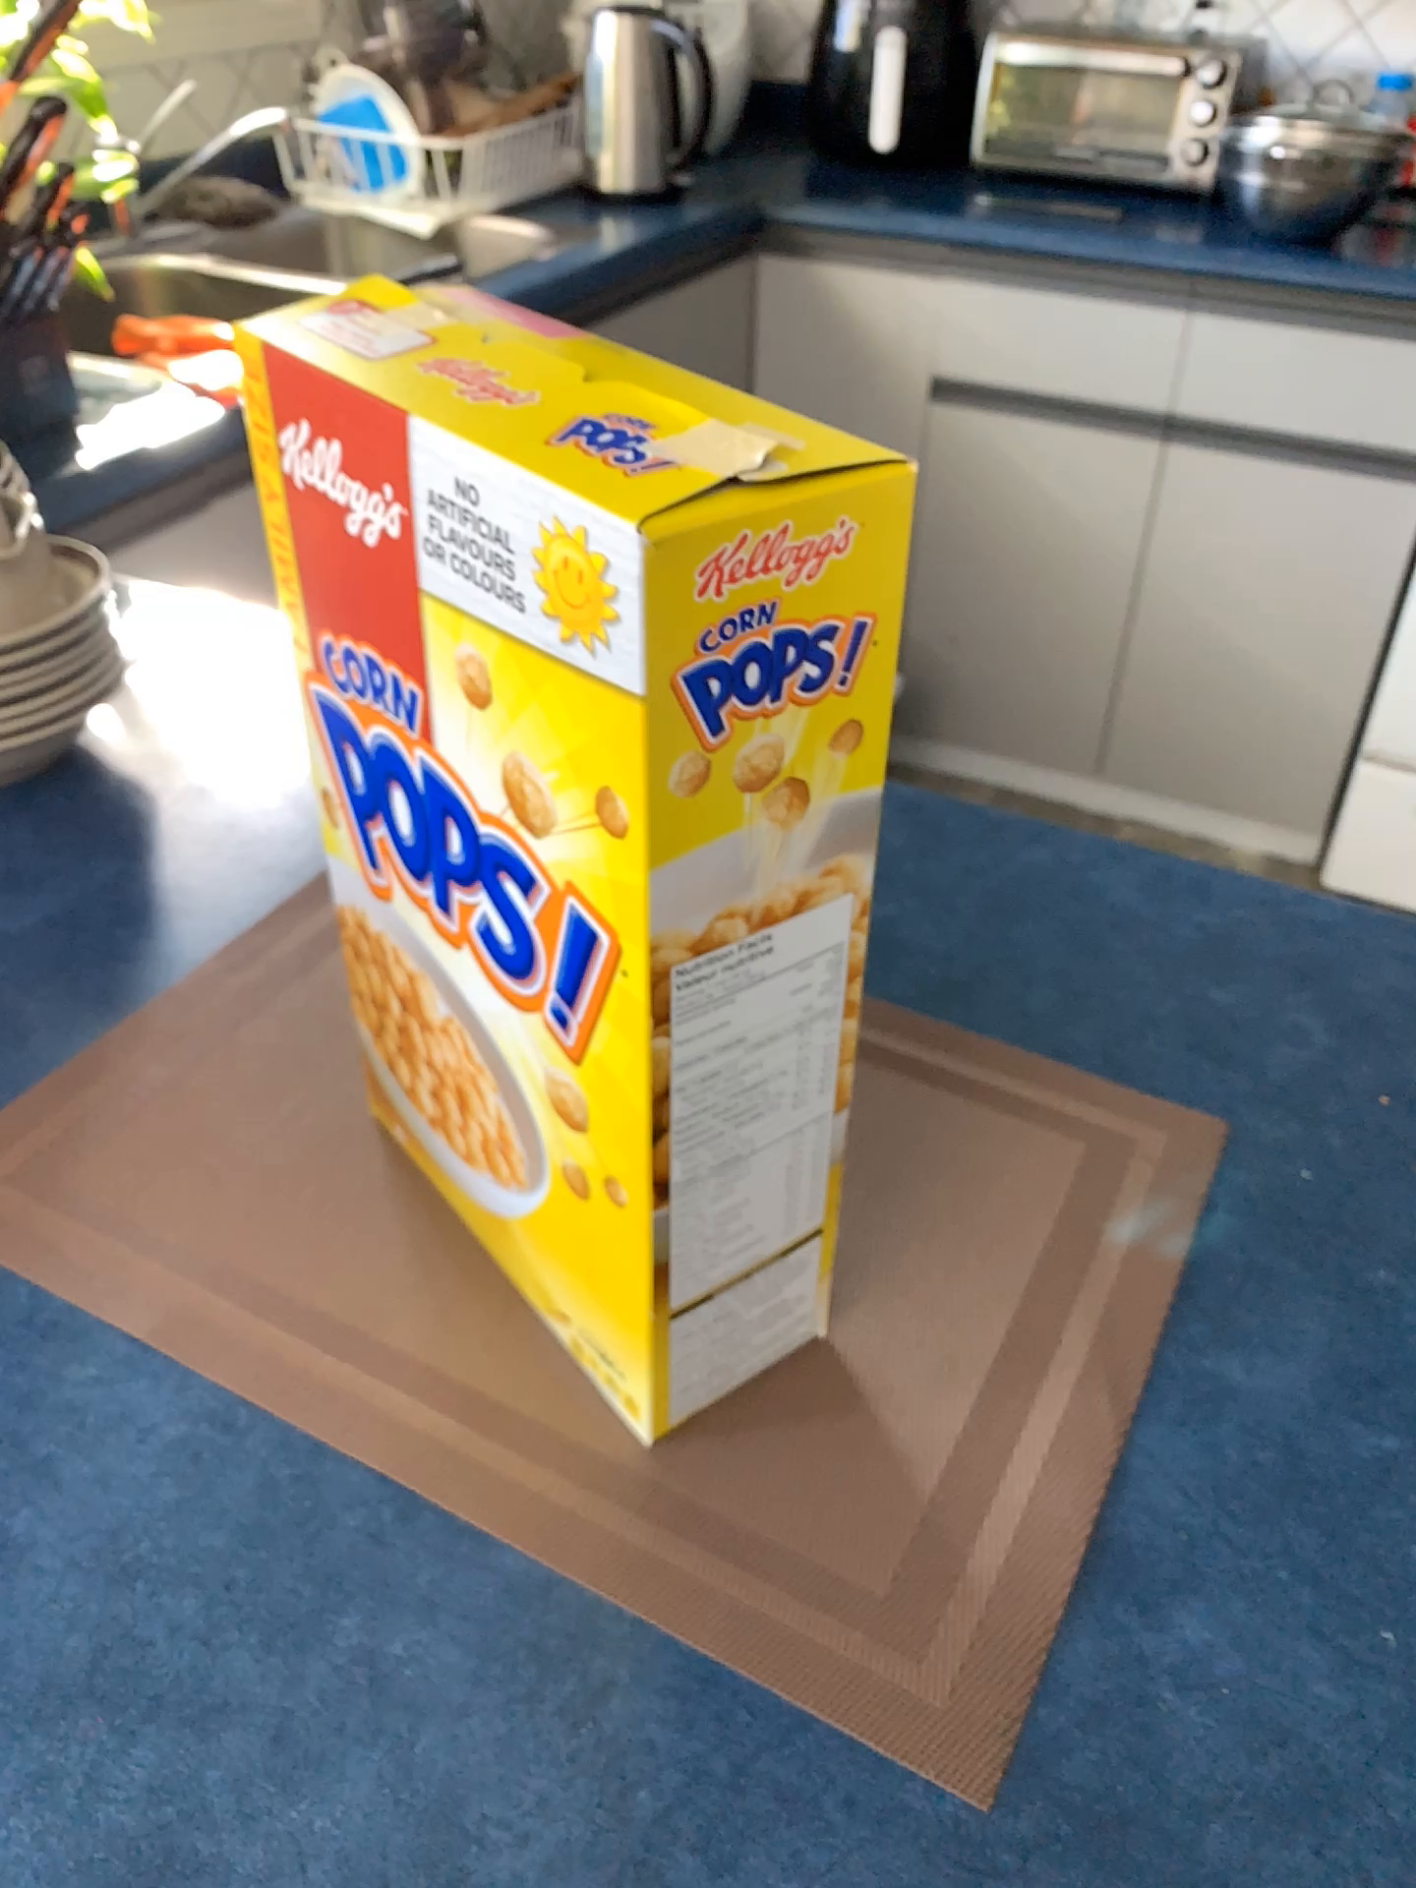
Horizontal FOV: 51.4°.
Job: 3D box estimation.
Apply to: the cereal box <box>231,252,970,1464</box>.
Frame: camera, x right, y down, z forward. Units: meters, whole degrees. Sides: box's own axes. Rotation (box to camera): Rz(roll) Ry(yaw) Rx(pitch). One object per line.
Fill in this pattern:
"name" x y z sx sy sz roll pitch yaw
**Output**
"cereal box" -0.042 -0.027 0.473 0.090 0.317 0.211 -23 42 -30
